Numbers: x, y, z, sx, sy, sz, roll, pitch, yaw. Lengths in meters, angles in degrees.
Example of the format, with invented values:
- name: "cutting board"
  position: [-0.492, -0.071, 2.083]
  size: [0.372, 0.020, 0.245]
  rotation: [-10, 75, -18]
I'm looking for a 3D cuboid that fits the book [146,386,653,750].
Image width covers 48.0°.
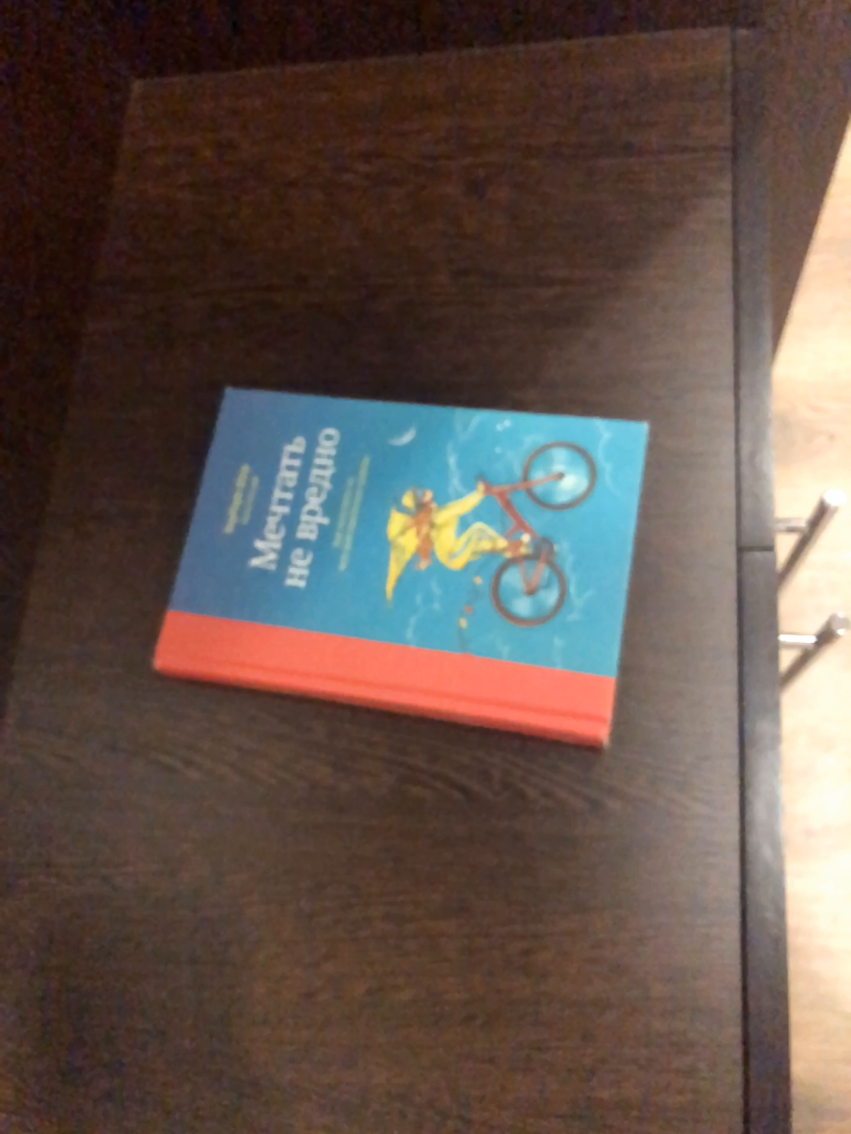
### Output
- name: "book"
  position: [-0.011, -0.005, 0.443]
  size: [0.211, 0.025, 0.145]
  rotation: [7, 74, 12]
